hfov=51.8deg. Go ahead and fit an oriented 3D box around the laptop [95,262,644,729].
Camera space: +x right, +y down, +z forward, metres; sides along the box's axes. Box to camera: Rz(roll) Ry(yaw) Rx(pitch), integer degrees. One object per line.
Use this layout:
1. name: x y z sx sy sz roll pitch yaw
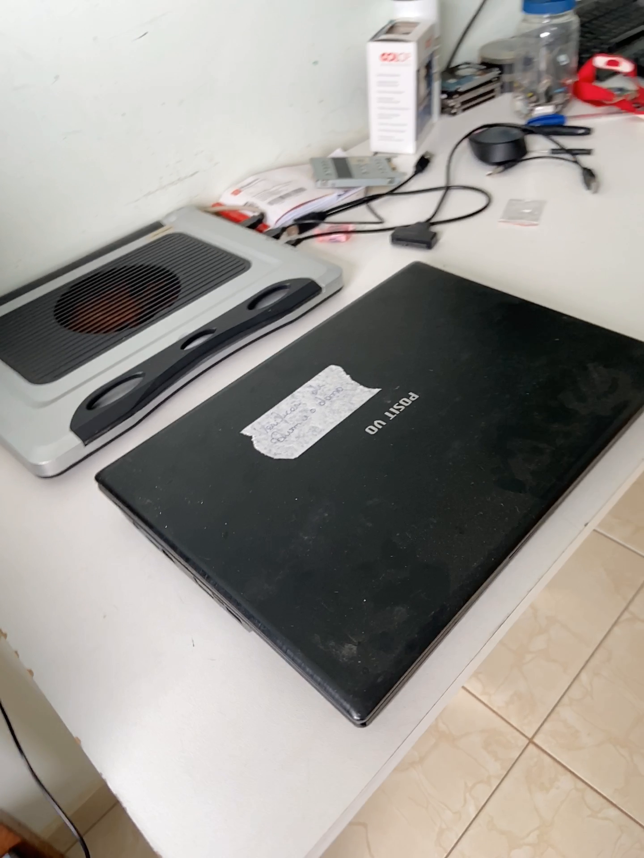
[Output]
1. laptop: 0.049 -0.005 0.448 0.234 0.008 0.329 31 55 34
